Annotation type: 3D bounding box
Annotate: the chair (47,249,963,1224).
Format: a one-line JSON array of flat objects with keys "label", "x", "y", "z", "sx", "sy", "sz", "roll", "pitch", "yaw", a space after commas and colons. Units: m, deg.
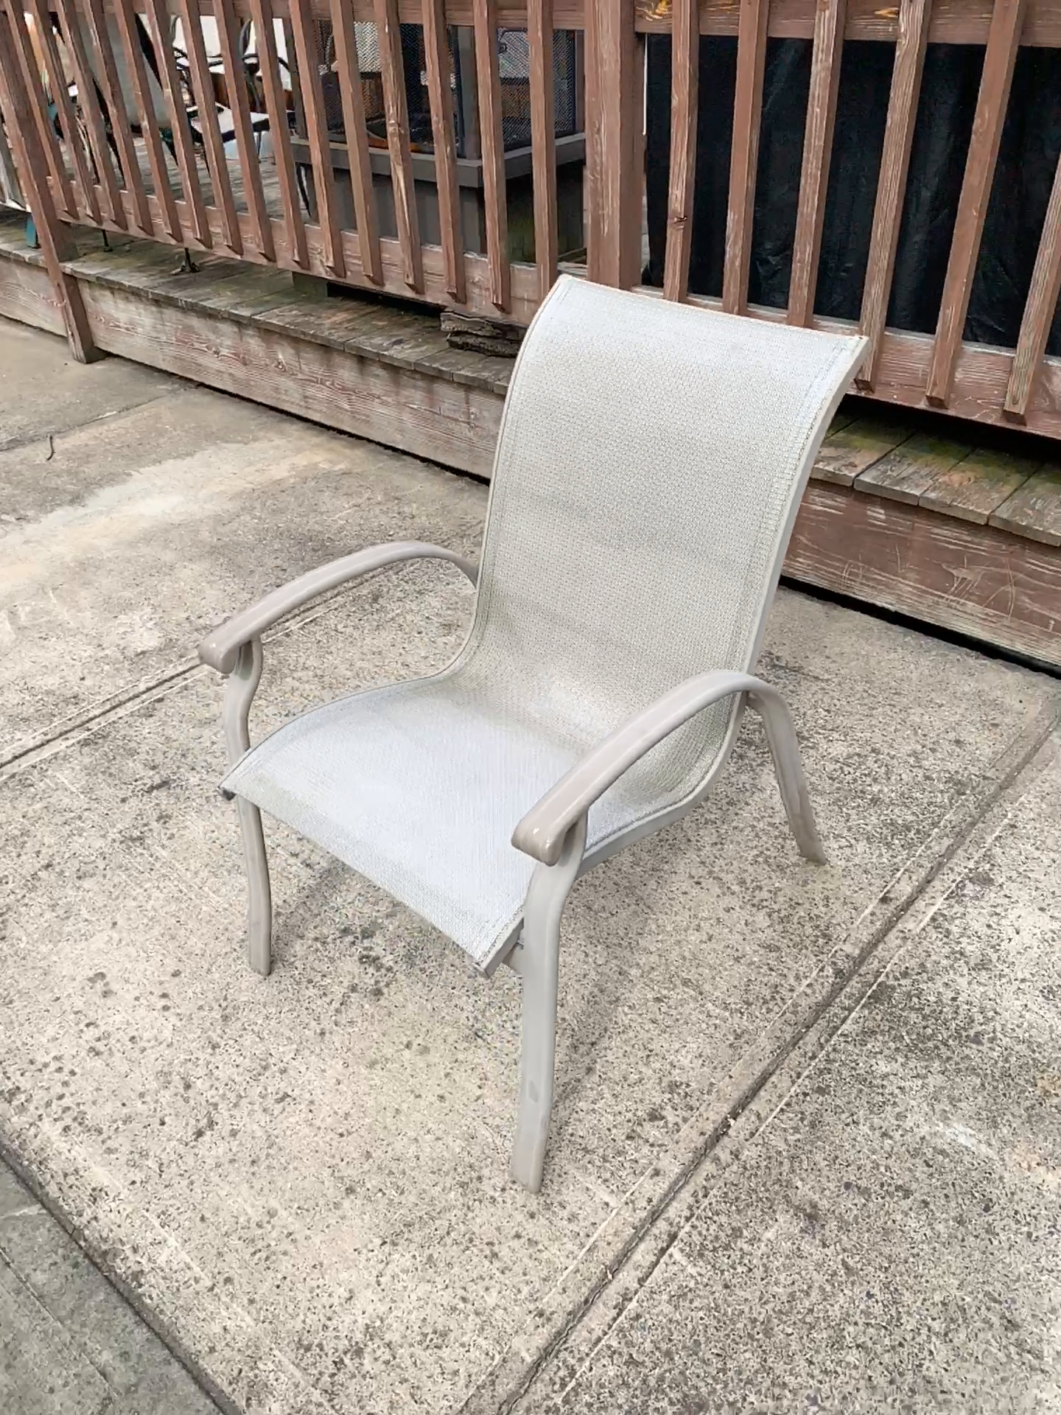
[{"label": "chair", "x": 0.008, "y": -0.037, "z": 1.440, "sx": 0.652, "sy": 0.845, "sz": 0.792, "roll": 26, "pitch": 44, "yaw": 33}]
